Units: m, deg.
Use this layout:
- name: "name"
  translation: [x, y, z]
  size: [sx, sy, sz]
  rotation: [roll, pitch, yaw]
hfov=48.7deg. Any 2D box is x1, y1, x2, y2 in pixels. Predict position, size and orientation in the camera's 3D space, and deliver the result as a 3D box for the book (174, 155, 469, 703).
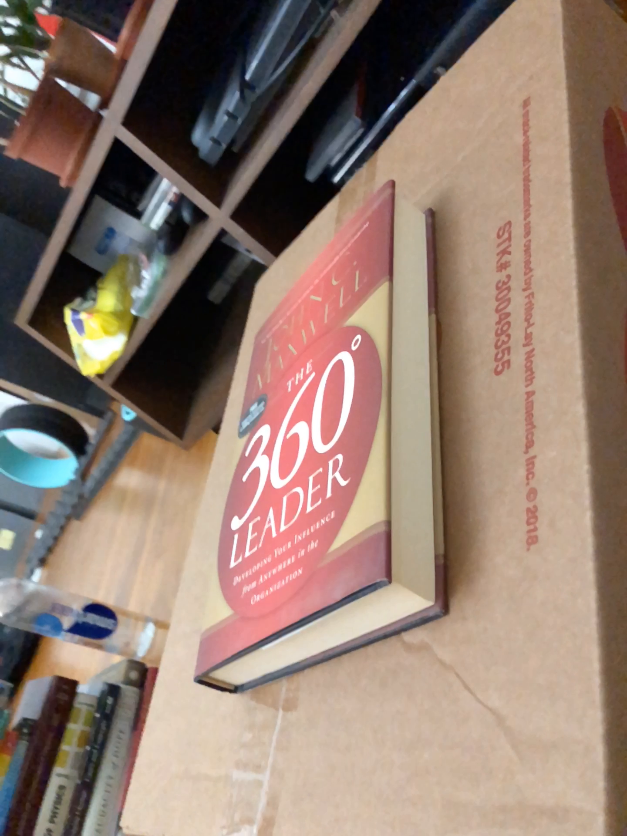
- name: "book"
  translation: [0.003, 0.005, 0.361]
  size: [0.180, 0.030, 0.241]
  rotation: [-40, 33, 45]
